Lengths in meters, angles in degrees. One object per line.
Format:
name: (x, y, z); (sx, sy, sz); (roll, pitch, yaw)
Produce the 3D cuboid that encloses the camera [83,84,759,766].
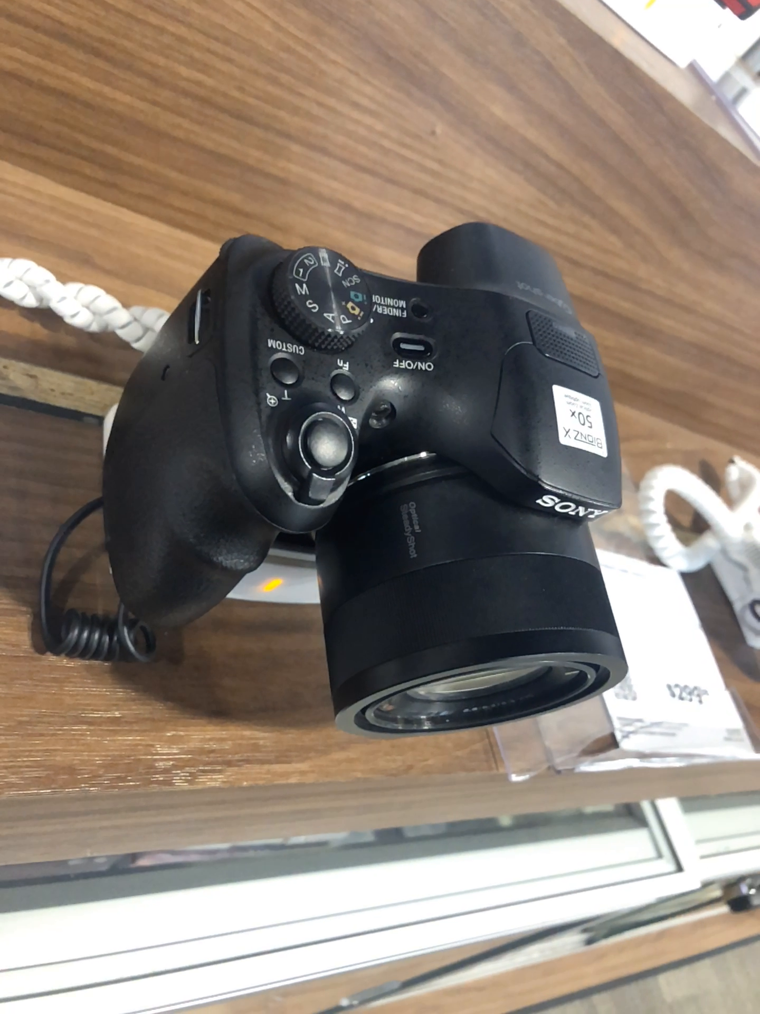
camera: (0.008, -0.008, 0.207); (0.125, 0.084, 0.110); (12, 49, -38)
